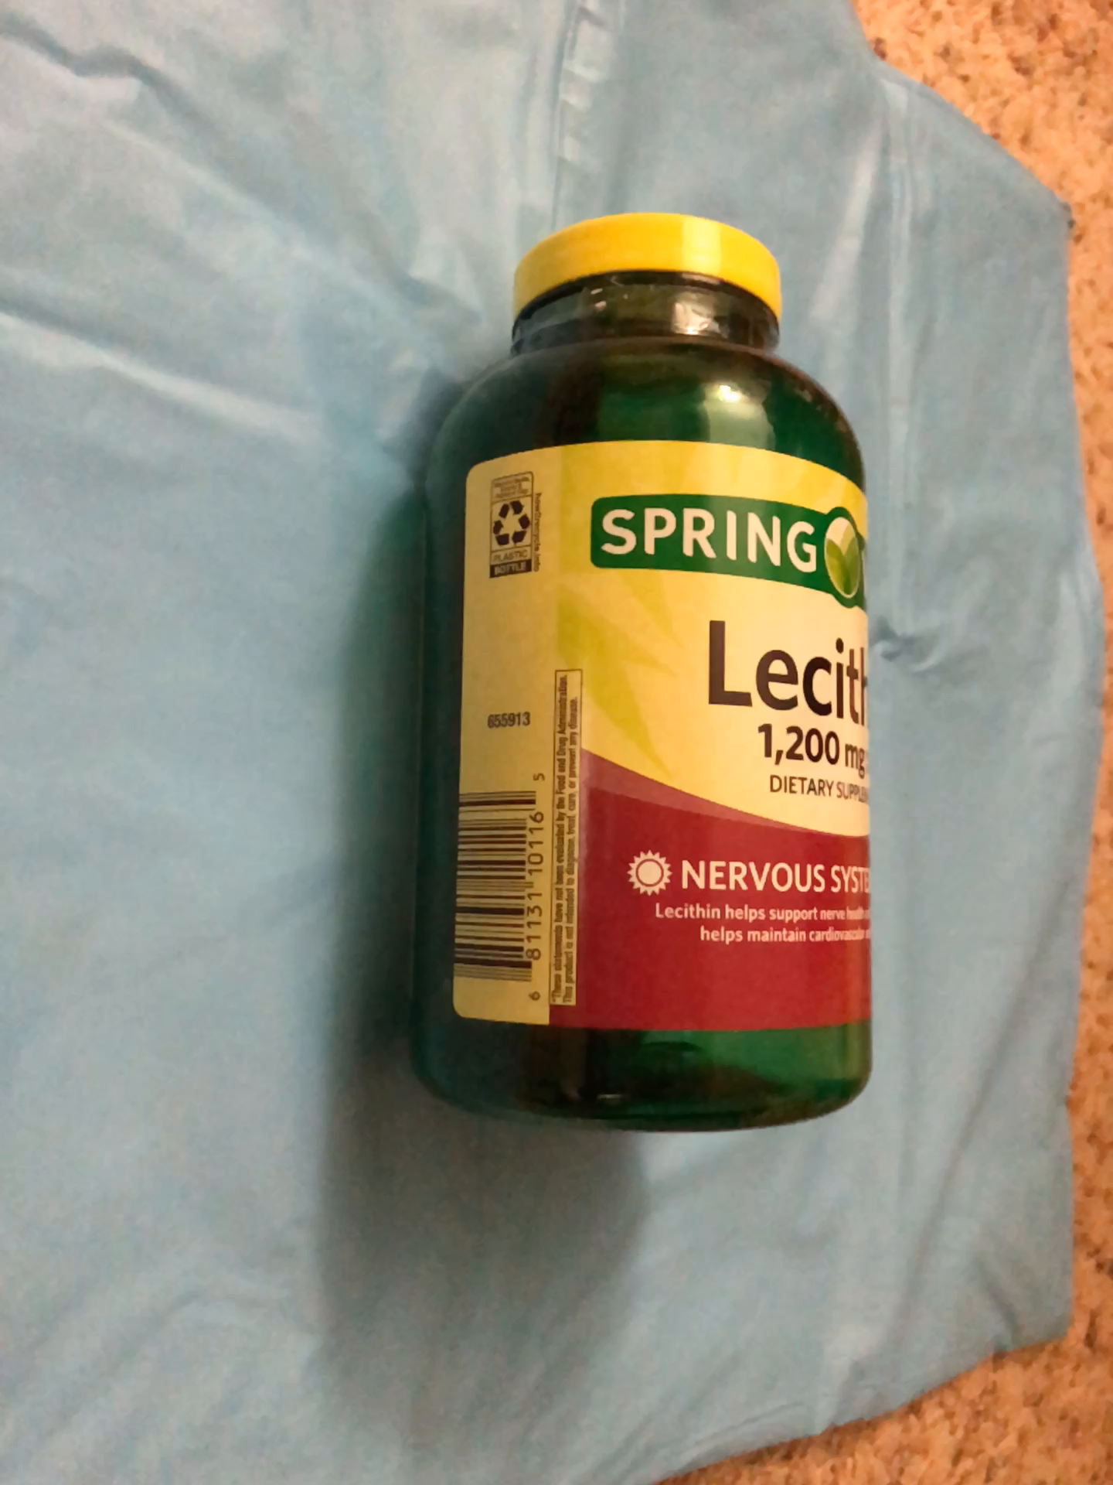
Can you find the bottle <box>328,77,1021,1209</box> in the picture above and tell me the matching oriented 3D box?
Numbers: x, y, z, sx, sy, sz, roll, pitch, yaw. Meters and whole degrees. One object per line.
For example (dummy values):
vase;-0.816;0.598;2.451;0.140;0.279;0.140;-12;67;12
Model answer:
bottle;0.026;-0.011;0.251;0.101;0.090;0.170;8;81;-42
